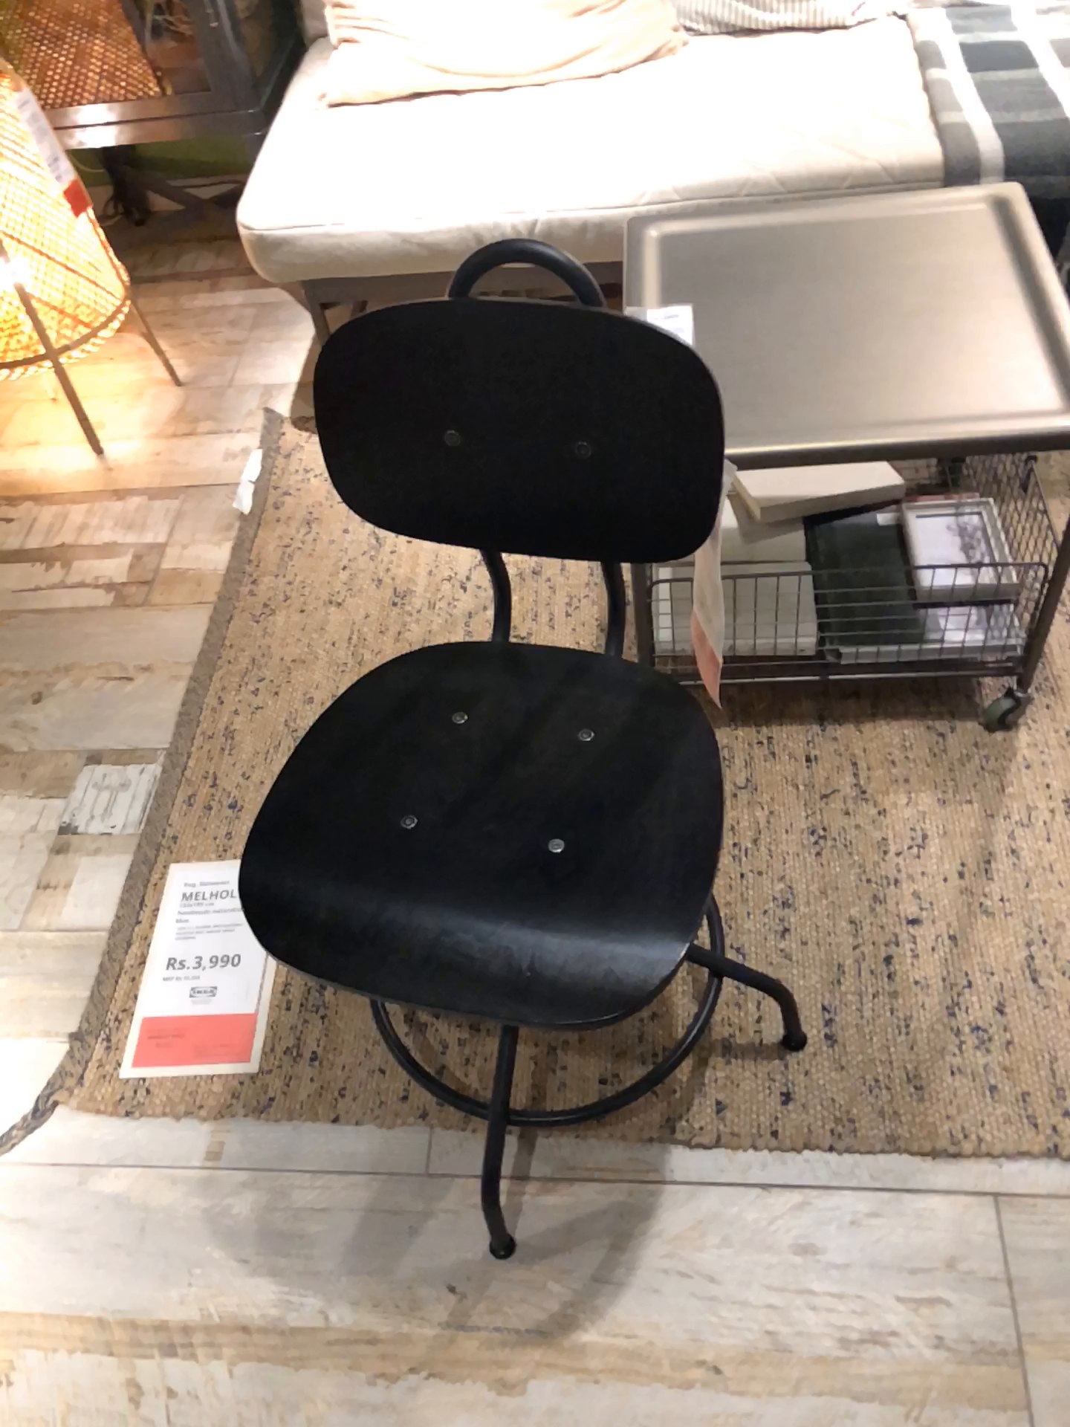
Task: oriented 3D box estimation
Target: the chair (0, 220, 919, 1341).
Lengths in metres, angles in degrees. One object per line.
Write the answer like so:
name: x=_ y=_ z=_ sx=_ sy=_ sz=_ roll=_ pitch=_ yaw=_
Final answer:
chair: x=-0.022 y=0.084 z=1.035 sx=0.591 sy=0.766 sz=0.583 roll=6 pitch=53 yaw=15
